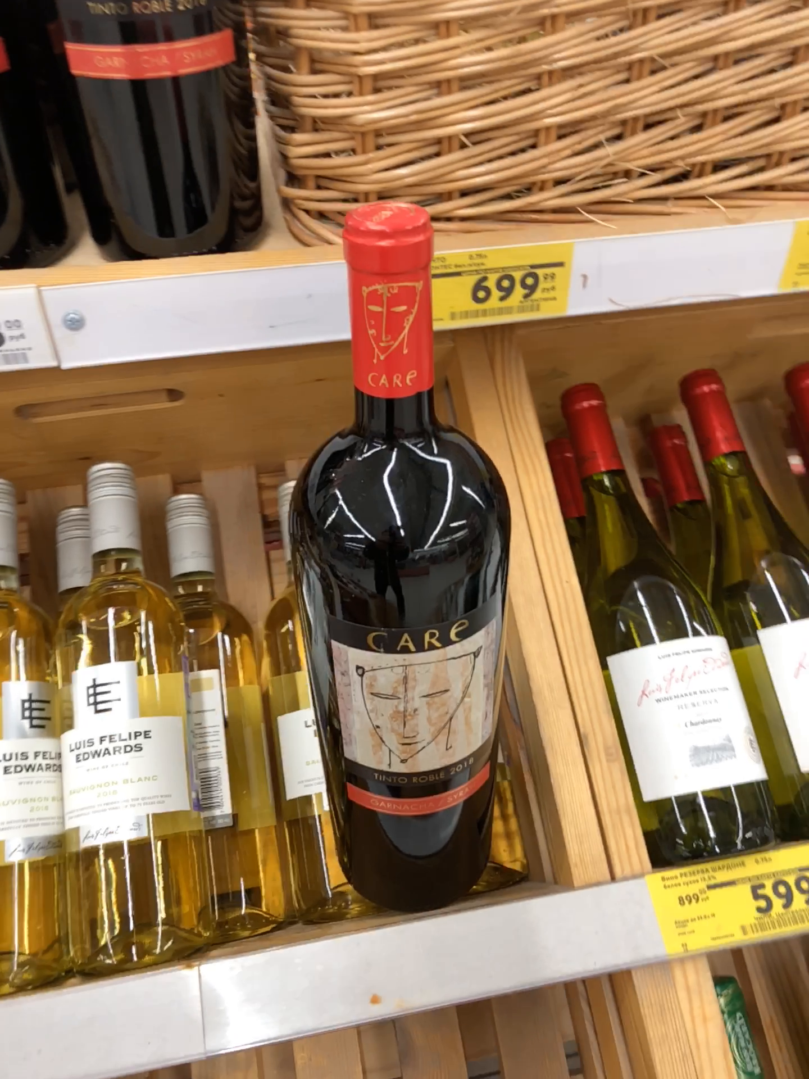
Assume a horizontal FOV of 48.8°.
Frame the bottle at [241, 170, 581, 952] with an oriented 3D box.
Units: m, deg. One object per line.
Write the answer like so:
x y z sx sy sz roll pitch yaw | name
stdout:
0.000 0.036 0.405 0.100 0.358 0.101 -1 36 1 | bottle
